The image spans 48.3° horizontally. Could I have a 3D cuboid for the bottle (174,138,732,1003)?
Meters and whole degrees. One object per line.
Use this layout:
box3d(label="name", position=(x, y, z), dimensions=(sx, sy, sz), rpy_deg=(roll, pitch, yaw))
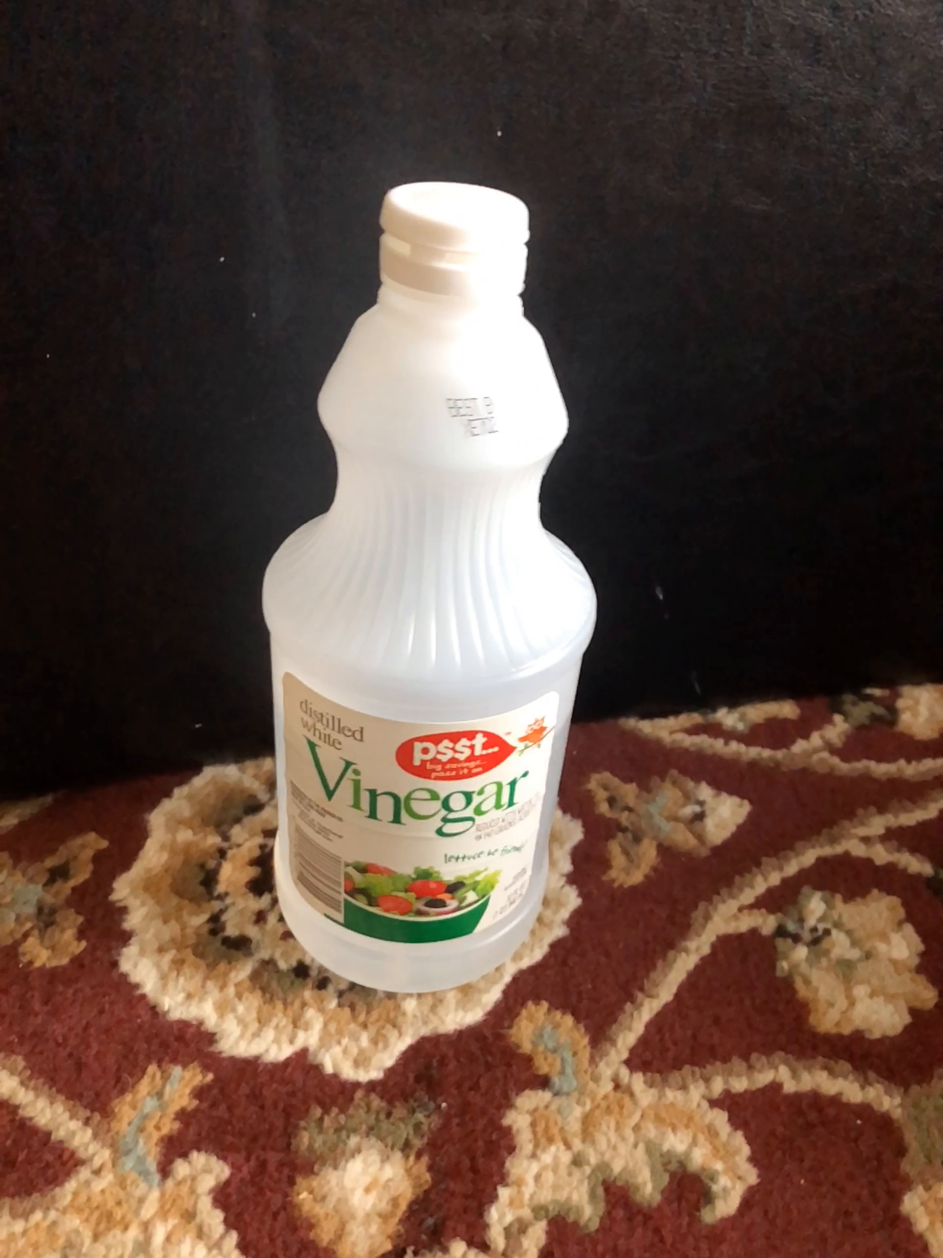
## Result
box3d(label="bottle", position=(-0.013, -0.003, 0.289), dimensions=(0.100, 0.219, 0.090), rpy_deg=(1, 37, -6))
